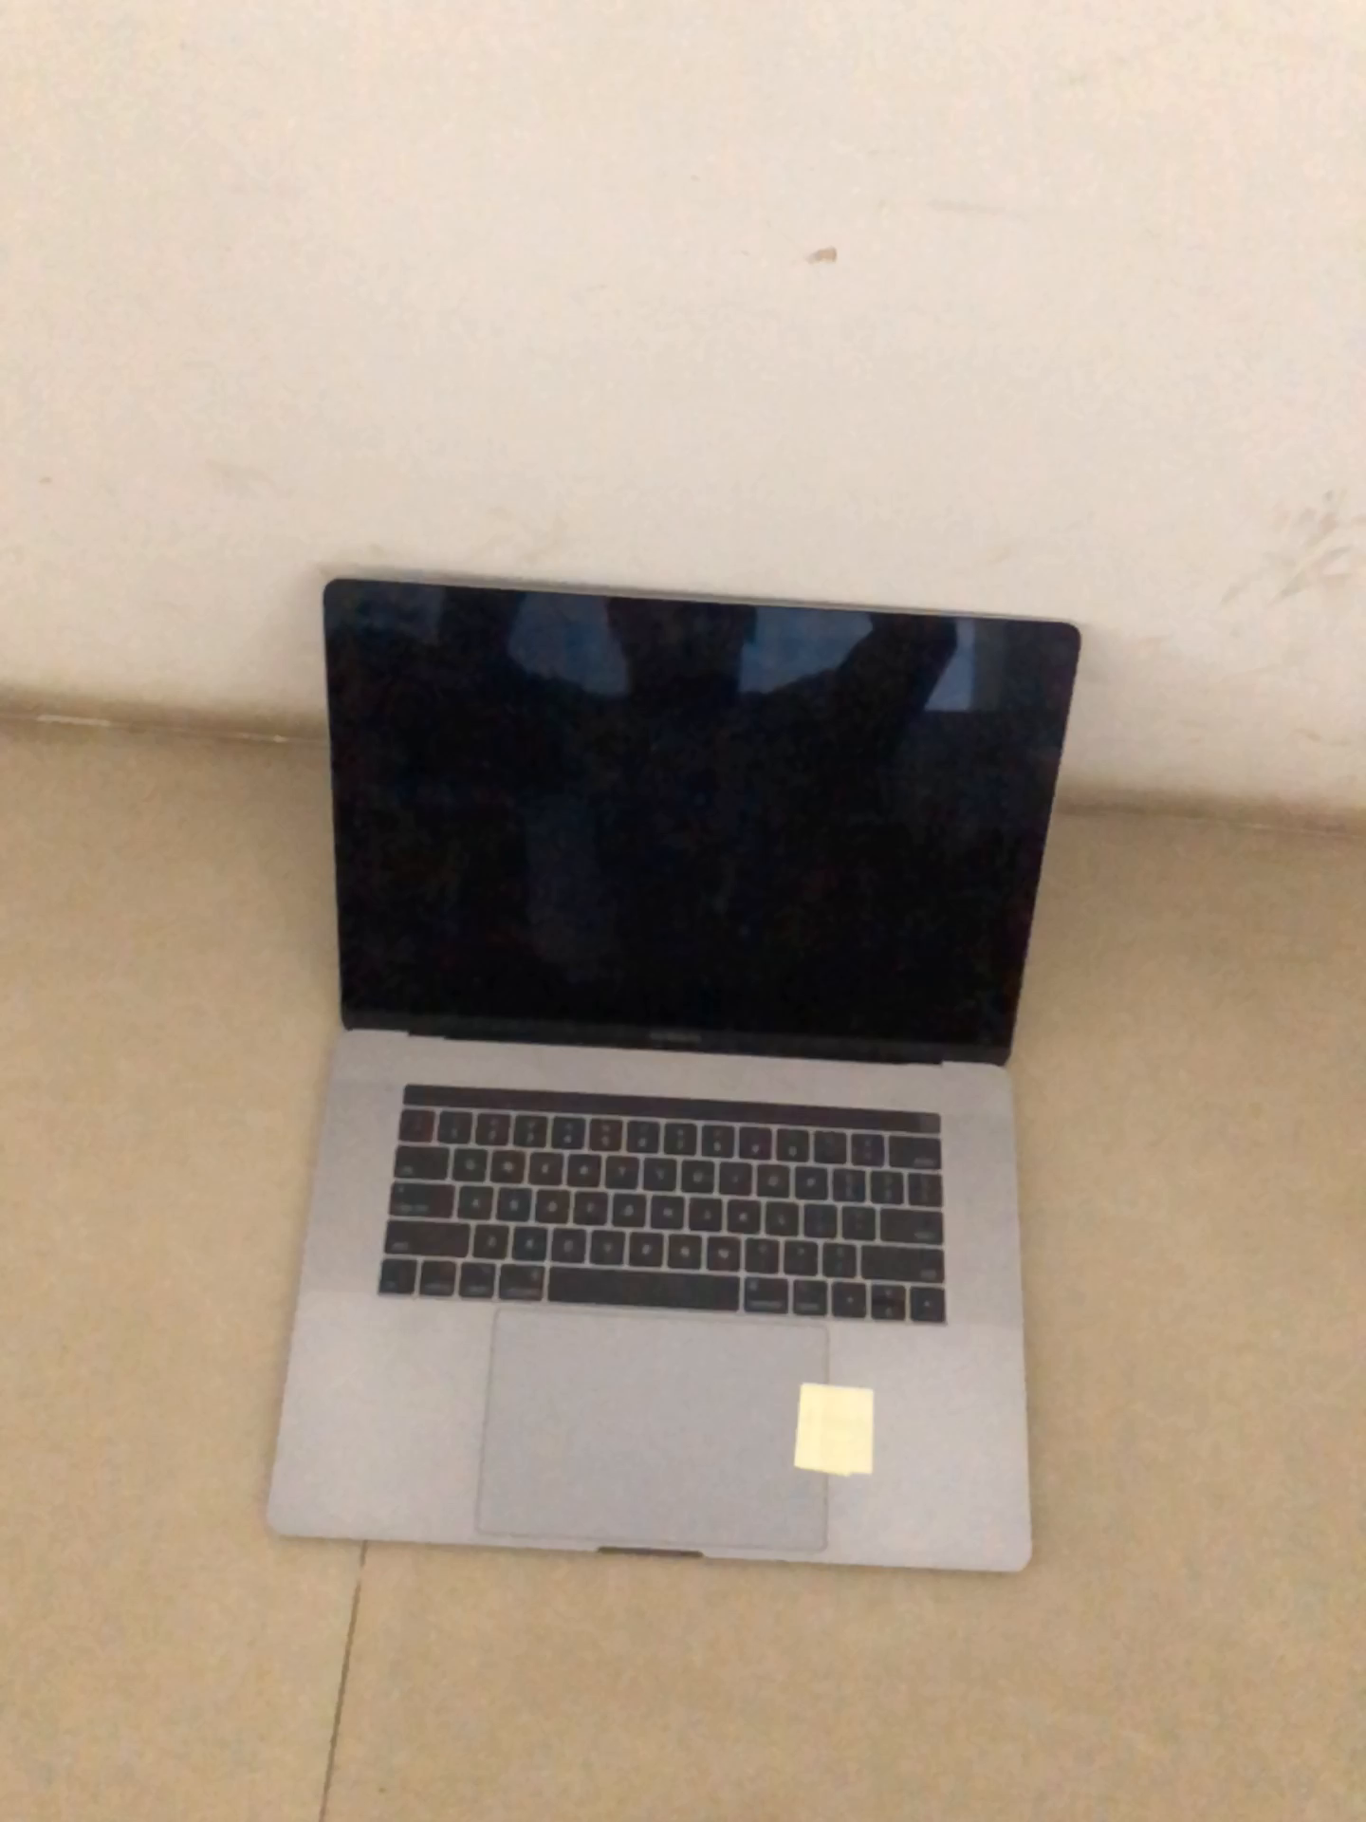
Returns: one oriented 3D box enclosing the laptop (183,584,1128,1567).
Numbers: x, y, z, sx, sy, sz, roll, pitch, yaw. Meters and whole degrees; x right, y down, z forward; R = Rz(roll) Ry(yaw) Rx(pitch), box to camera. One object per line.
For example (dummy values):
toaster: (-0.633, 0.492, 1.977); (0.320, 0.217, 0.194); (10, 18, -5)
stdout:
laptop: (-0.003, 0.074, 0.670); (0.329, 0.163, 0.380); (3, 68, -1)
